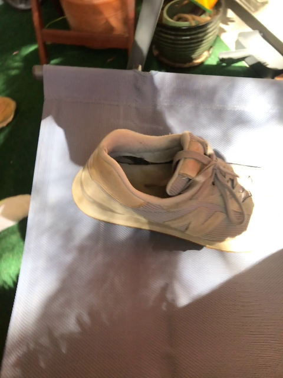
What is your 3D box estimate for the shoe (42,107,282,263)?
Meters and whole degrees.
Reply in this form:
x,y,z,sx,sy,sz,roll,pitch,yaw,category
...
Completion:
x,y,z,sx,sy,sz,roll,pitch,yaw,category
0.058,-0.006,0.356,0.286,0.104,0.125,4,60,8,shoe
